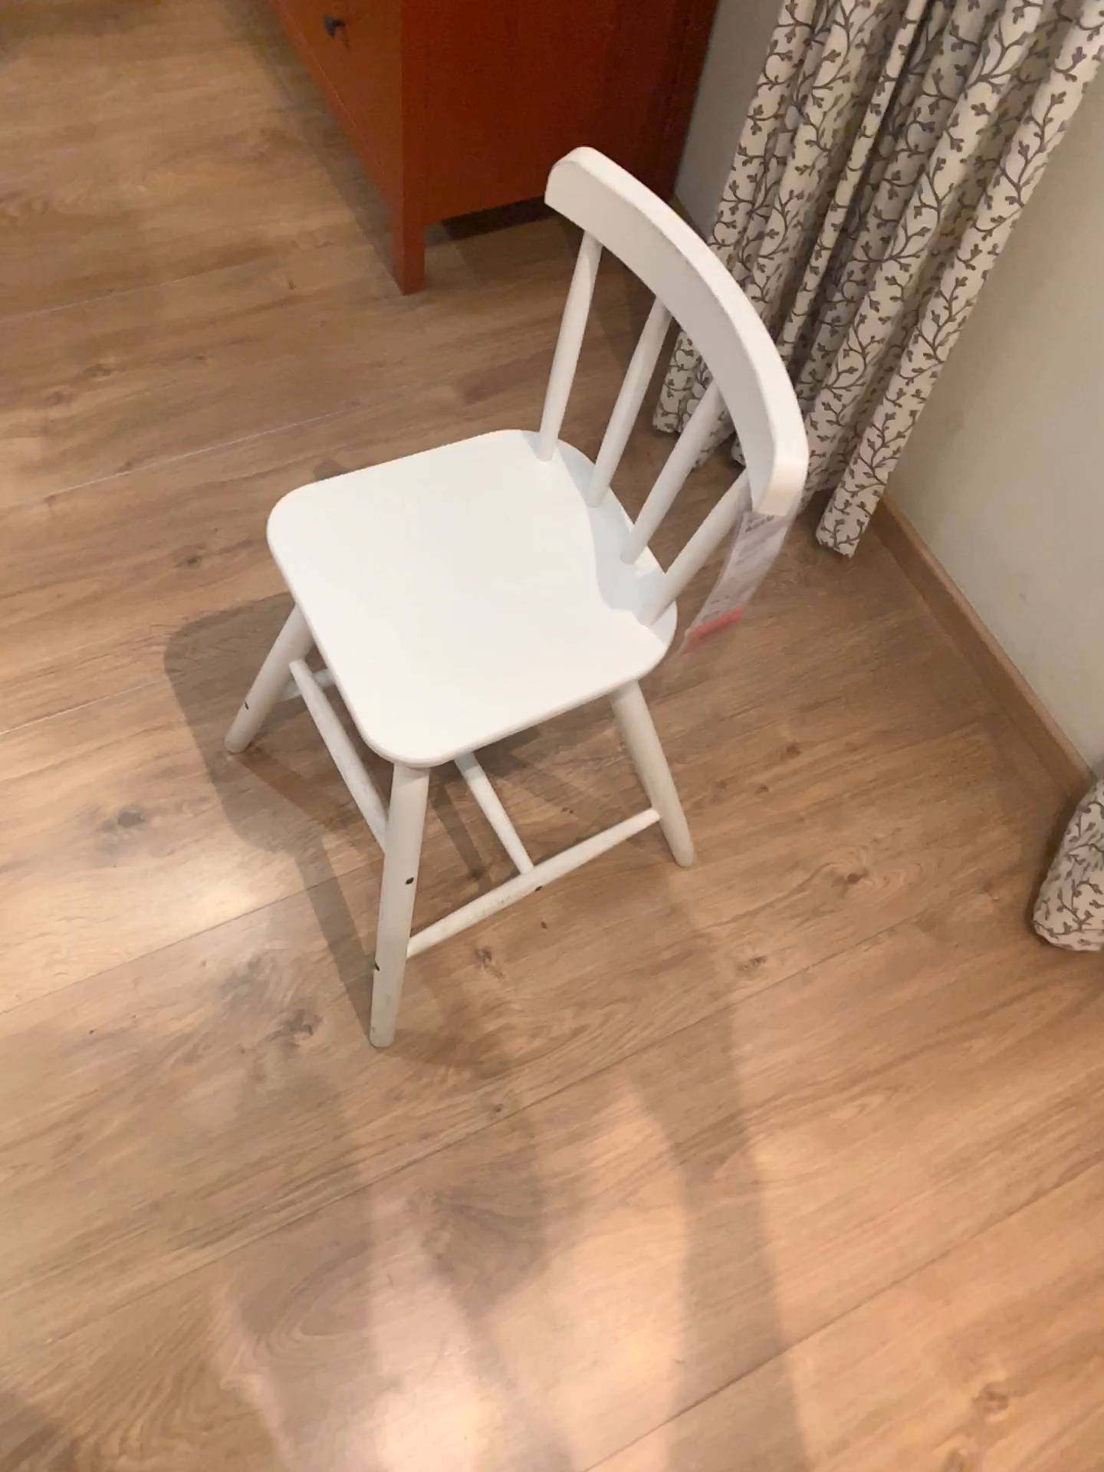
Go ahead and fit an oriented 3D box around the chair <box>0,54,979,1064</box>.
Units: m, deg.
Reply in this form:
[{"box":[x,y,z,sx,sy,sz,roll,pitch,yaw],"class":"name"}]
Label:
[{"box":[-0.079,-0.087,0.963,0.430,0.649,0.451,-24,69,-18],"class":"chair"}]
